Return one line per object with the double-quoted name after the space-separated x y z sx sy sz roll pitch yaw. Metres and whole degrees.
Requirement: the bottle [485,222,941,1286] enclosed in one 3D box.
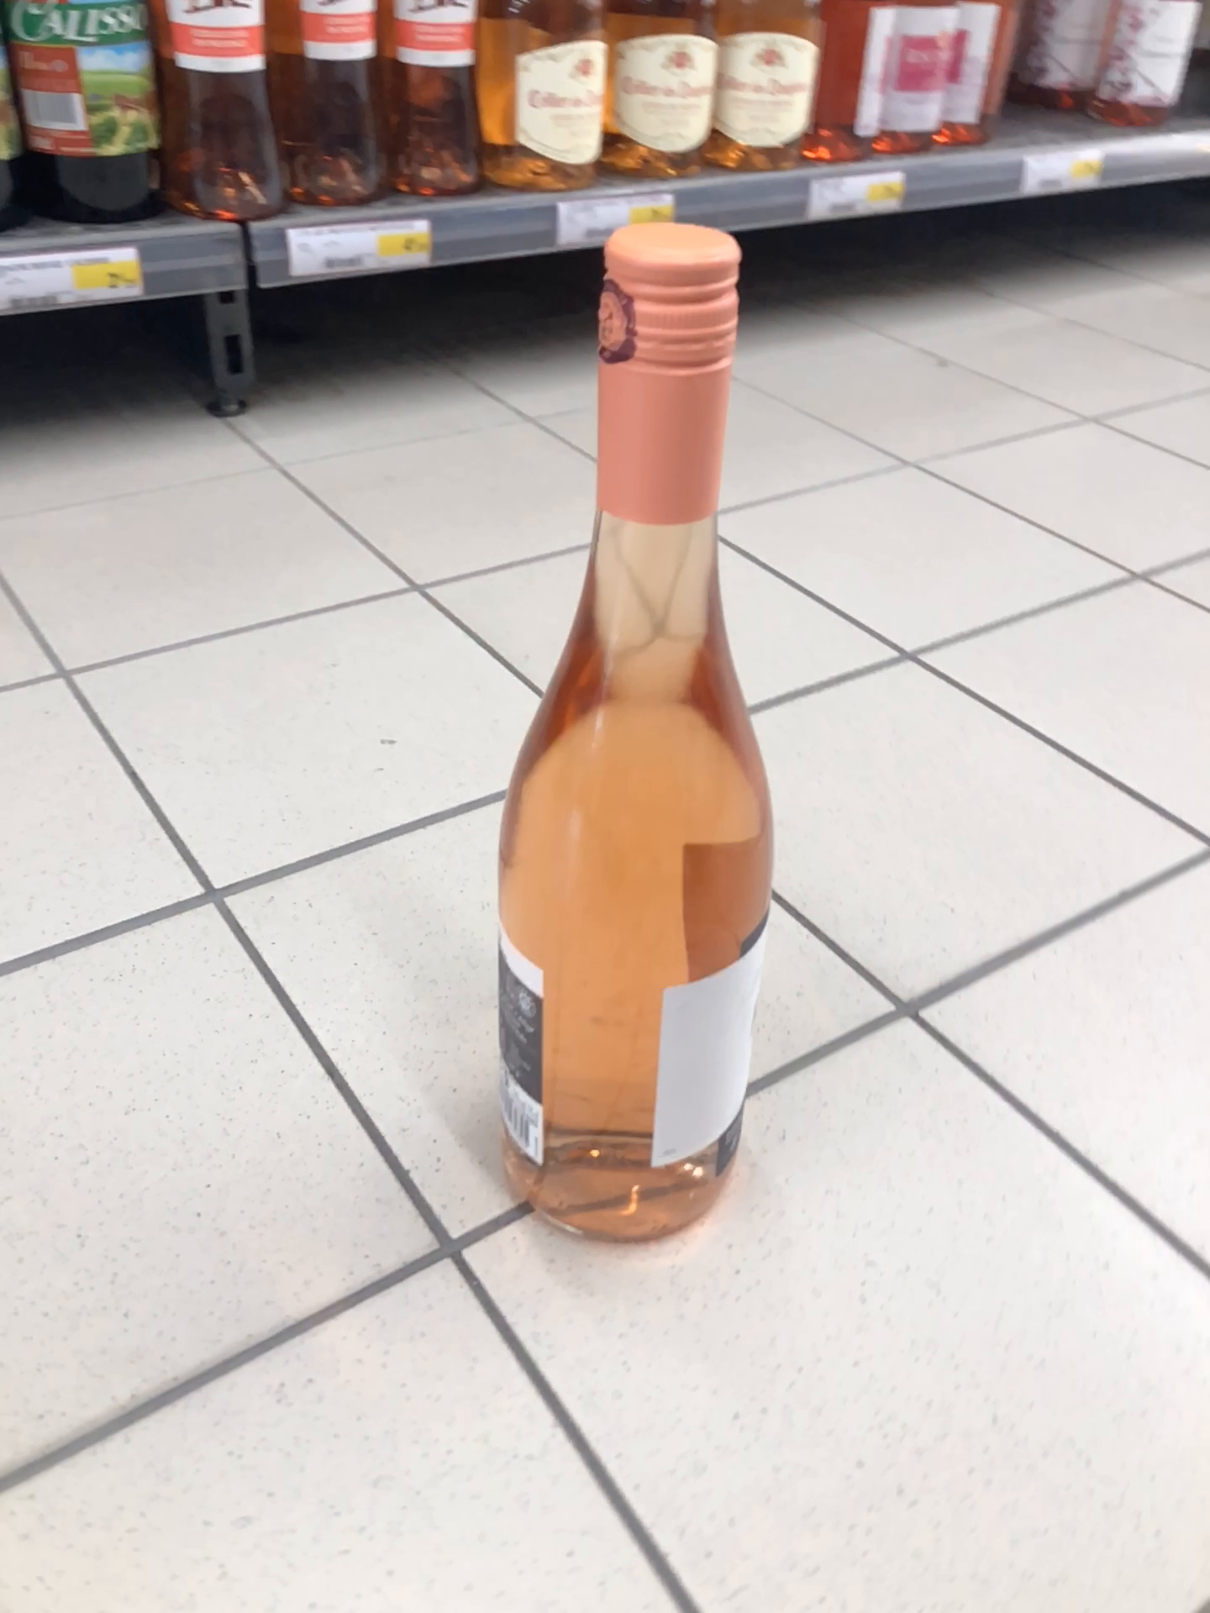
0.010 0.002 0.360 0.080 0.278 0.091 -2 35 -8 "bottle"
